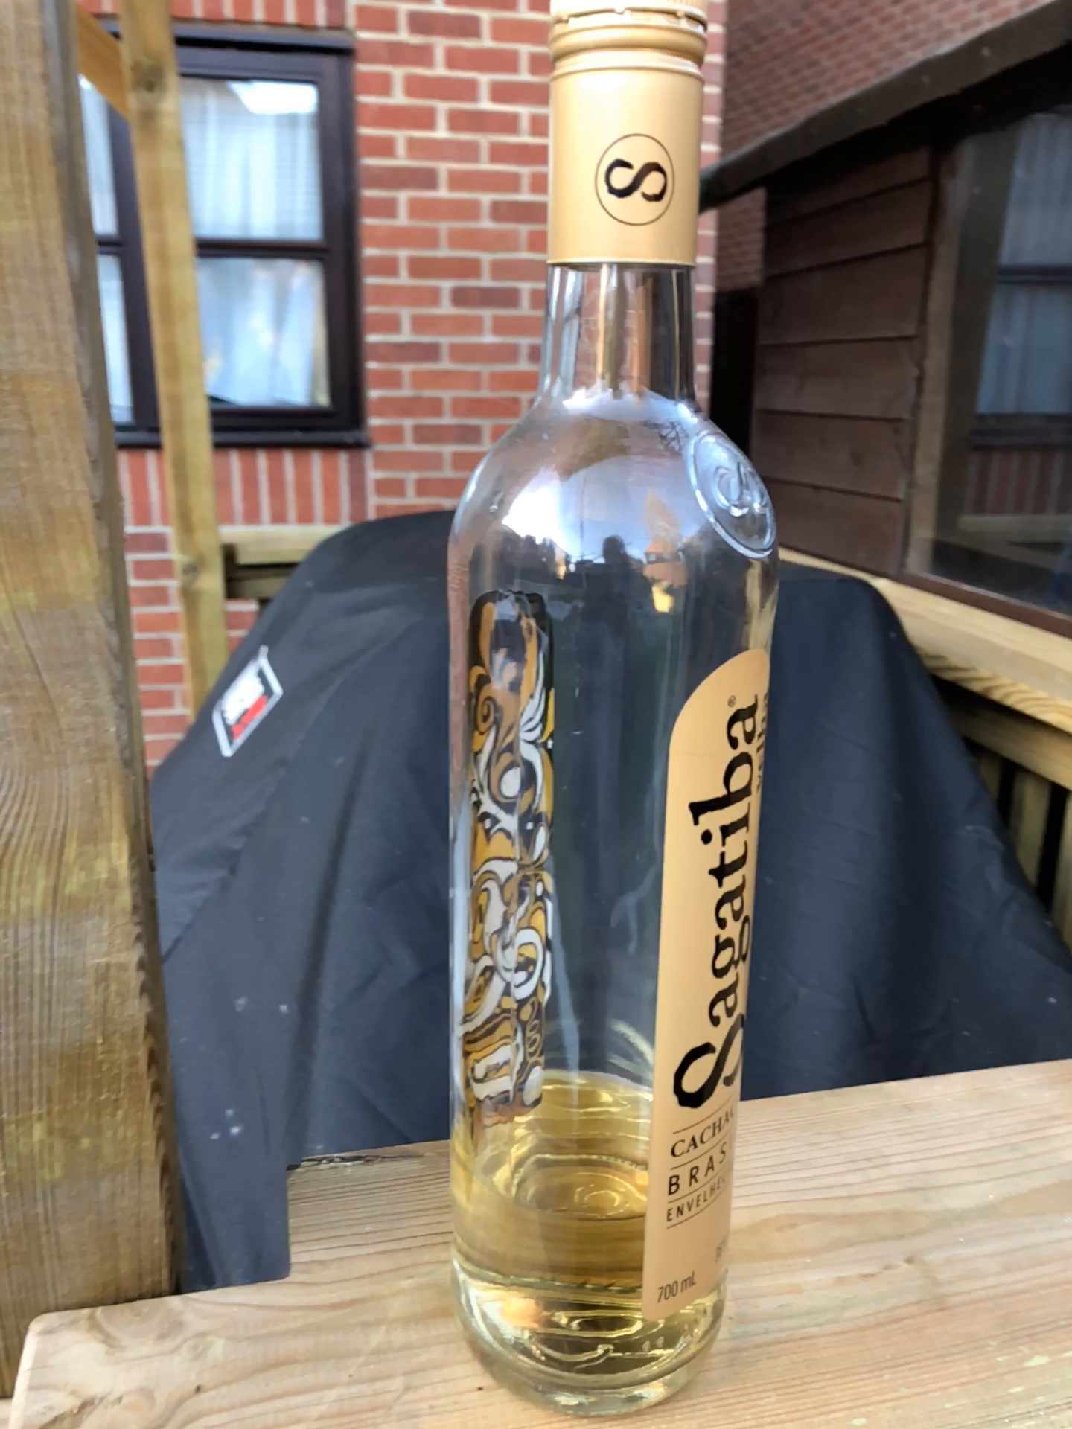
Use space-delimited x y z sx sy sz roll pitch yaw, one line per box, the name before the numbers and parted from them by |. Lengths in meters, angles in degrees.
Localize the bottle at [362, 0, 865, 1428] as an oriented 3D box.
bottle | 0.016 0.010 0.271 0.060 0.328 0.080 14 20 42
